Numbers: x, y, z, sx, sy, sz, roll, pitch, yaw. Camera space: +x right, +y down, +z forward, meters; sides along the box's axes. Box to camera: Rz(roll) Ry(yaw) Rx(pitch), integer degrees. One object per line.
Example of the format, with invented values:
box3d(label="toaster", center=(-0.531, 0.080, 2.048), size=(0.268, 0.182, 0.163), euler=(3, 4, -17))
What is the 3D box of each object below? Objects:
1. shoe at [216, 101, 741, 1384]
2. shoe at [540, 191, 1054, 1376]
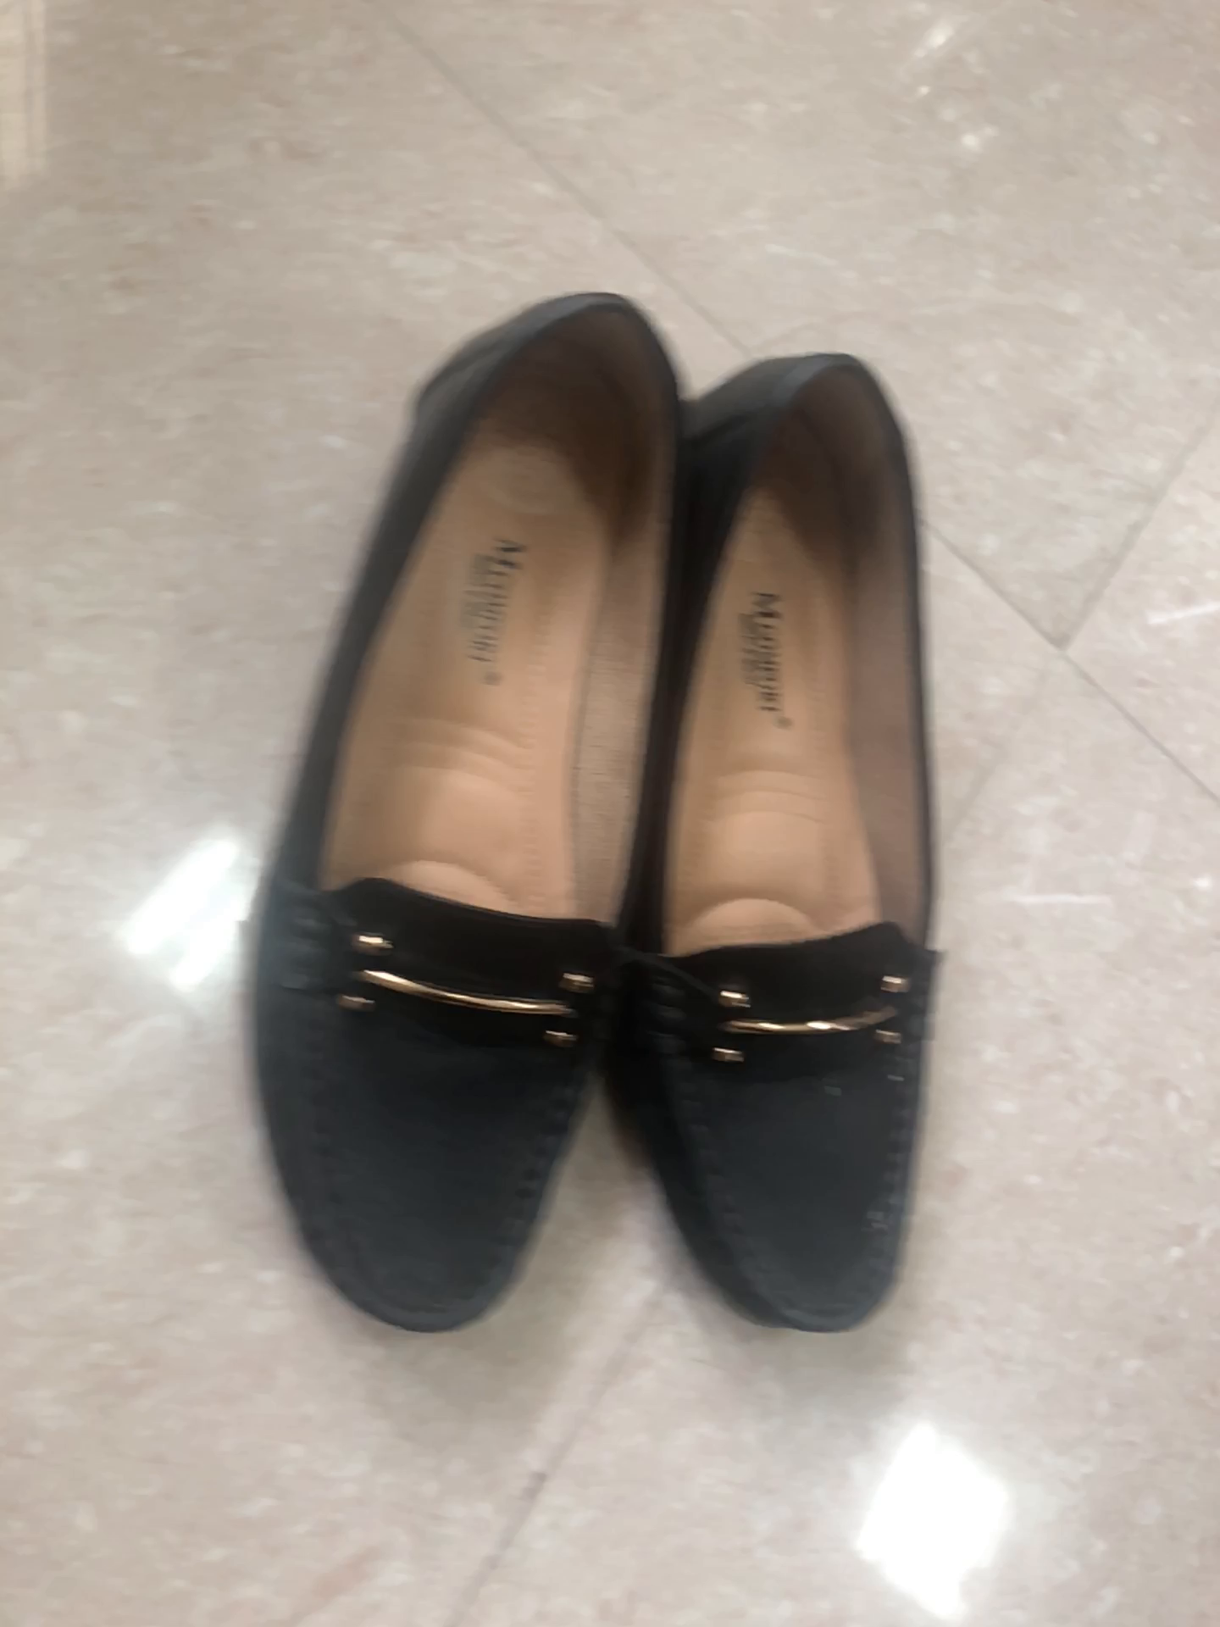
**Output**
box3d(label="shoe", center=(-0.032, -0.019, 0.367), size=(0.100, 0.080, 0.310), euler=(8, 75, -20))
box3d(label="shoe", center=(0.046, -0.012, 0.401), size=(0.100, 0.080, 0.310), euler=(2, 77, -21))
